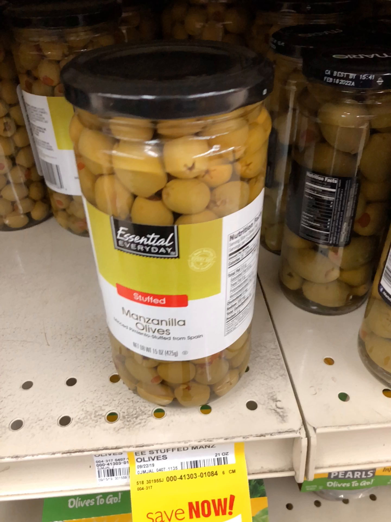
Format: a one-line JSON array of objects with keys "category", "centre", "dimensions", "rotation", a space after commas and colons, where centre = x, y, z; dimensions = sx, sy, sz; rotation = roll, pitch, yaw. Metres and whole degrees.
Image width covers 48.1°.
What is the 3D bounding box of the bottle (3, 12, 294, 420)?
[{"category": "bottle", "centre": [-0.009, -0.014, 0.200], "dimensions": [0.080, 0.163, 0.070], "rotation": [9, 39, 13]}]
